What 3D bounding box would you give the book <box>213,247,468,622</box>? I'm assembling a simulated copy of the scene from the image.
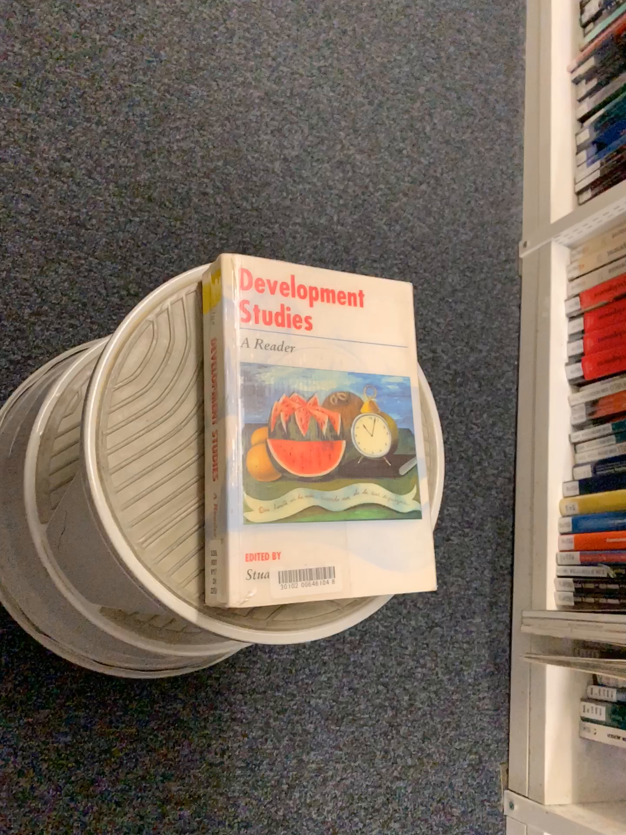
[{"bbox_3d":[0.018,0.012,0.435,0.160,0.045,0.225,3,77,-27],"label":"book"}]
